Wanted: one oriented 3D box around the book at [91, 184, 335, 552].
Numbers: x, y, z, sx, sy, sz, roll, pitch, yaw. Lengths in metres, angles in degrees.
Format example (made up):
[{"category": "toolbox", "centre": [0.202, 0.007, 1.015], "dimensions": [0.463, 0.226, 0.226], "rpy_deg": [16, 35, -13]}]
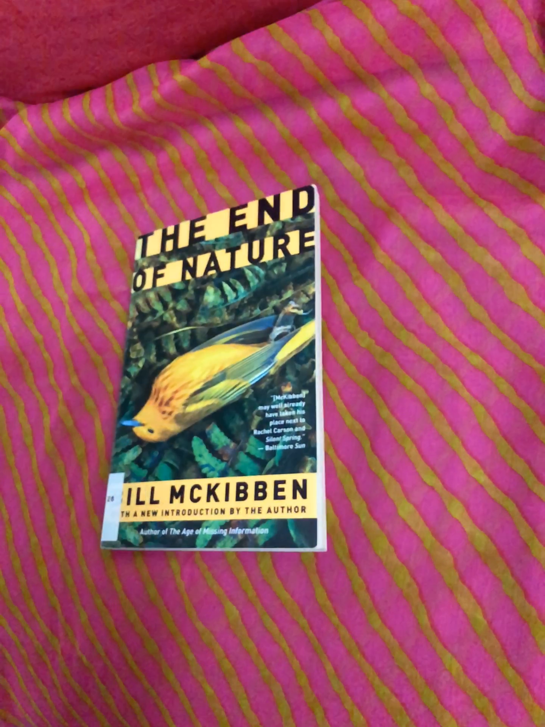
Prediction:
[{"category": "book", "centre": [-0.033, 0.003, 0.341], "dimensions": [0.132, 0.020, 0.194], "rpy_deg": [-7, 71, 23]}]
